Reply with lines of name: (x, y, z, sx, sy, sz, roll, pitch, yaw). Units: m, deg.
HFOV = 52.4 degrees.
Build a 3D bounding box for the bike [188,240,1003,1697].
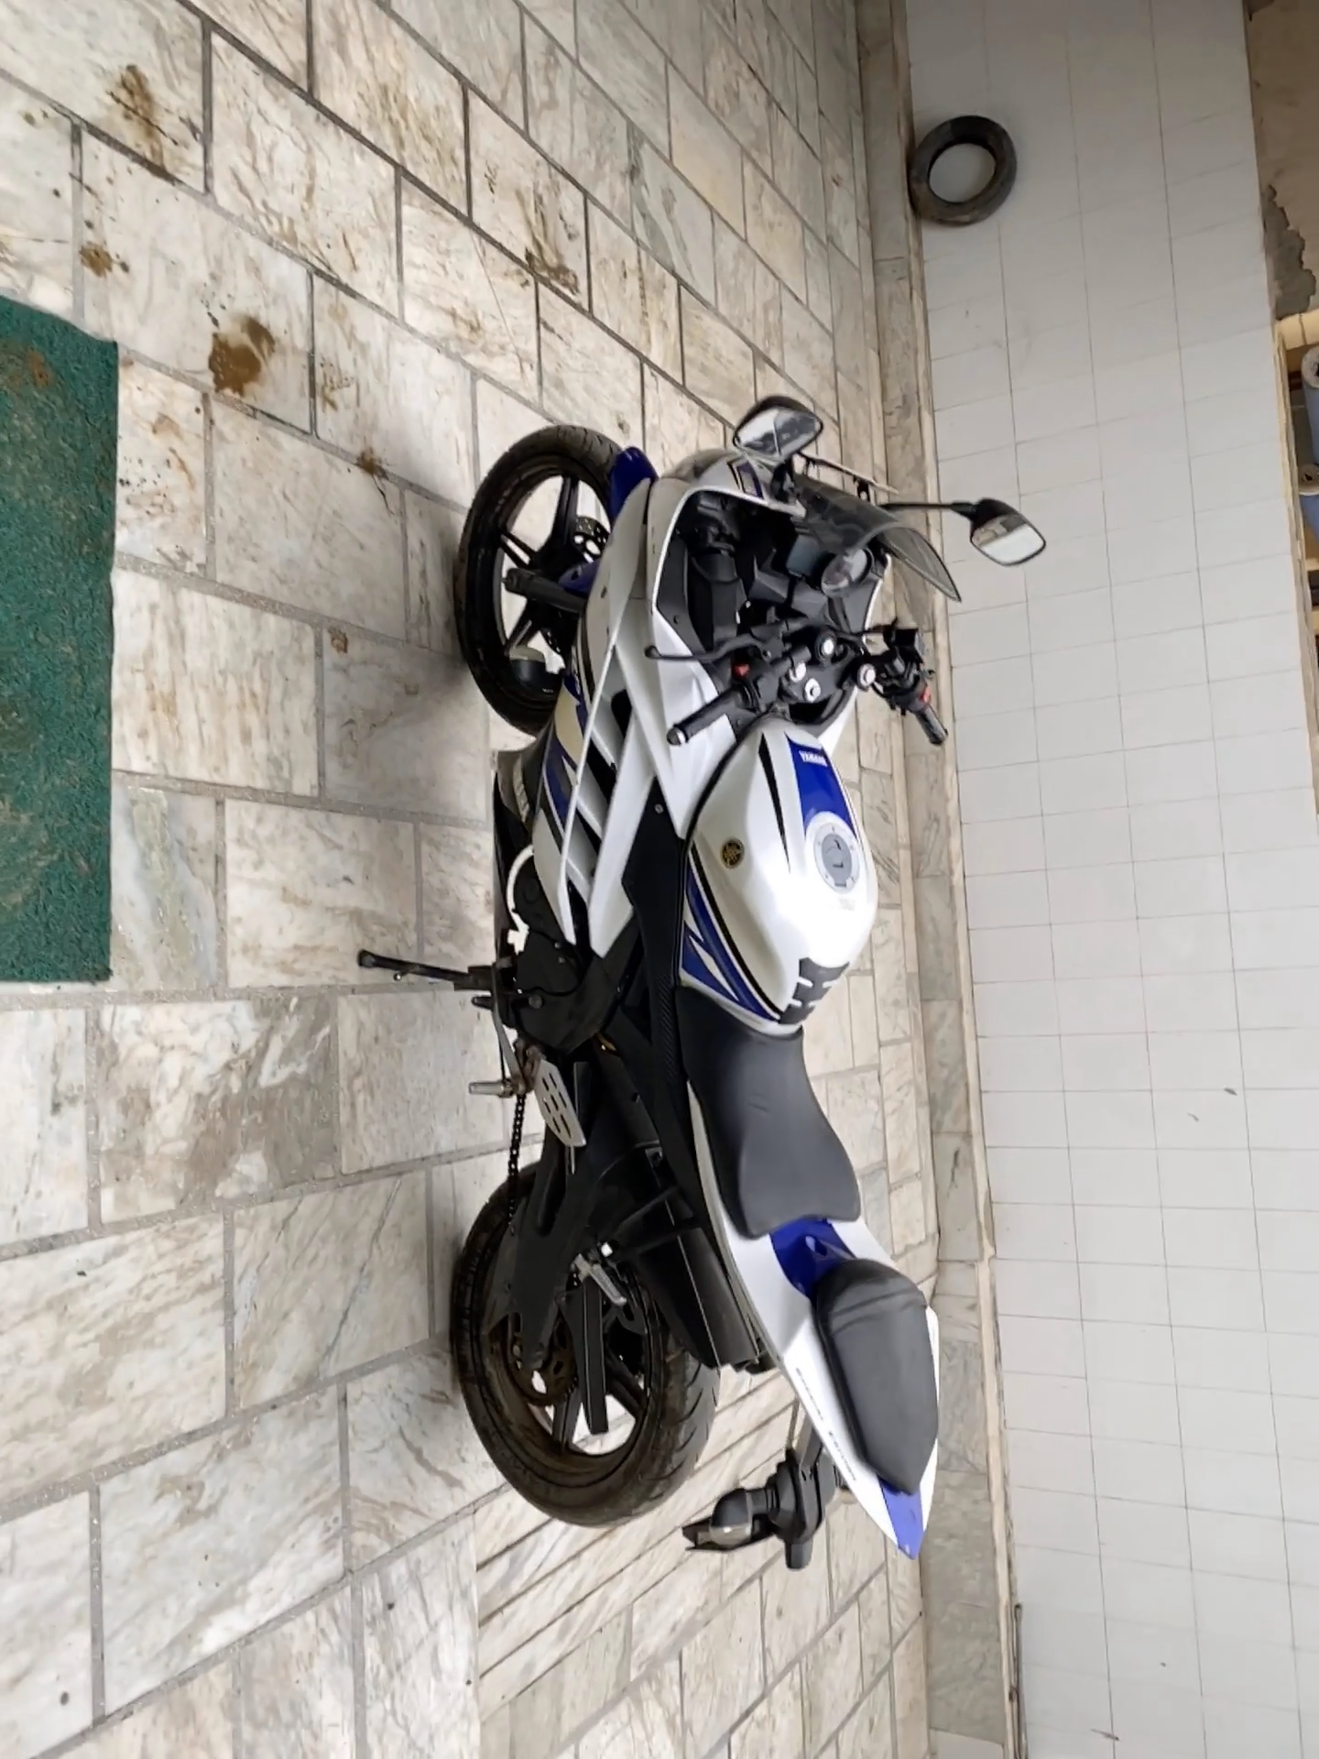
bike: (-0.126, 0.092, 2.250, 0.738, 0.903, 1.880, 11, 71, -60)
